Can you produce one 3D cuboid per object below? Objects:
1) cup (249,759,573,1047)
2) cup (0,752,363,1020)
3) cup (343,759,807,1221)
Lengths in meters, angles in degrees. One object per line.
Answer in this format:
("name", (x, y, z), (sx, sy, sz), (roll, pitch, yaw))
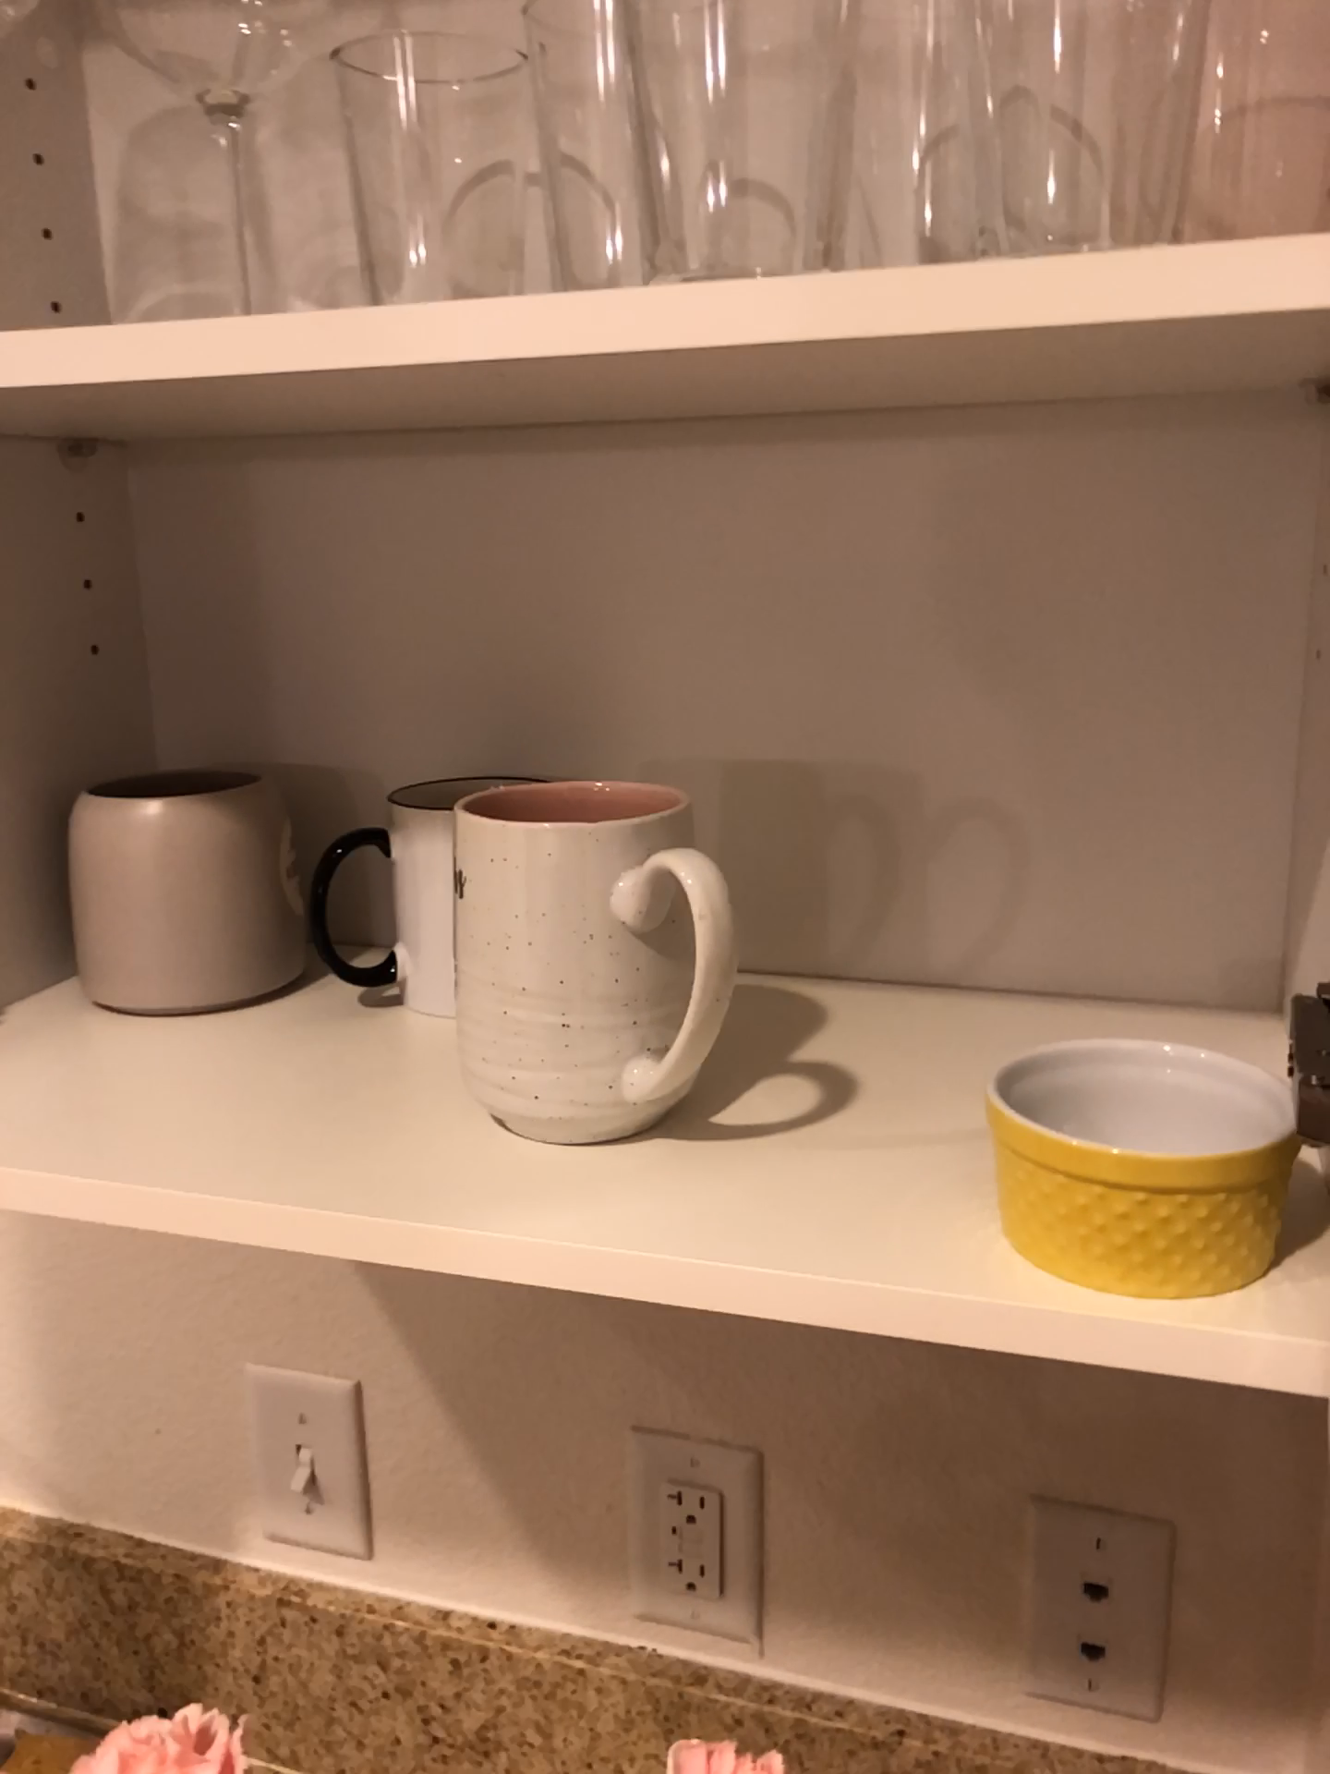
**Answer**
("cup", (-0.108, 0.002, 0.616), (0.110, 0.090, 0.090), (-7, 15, -23))
("cup", (-0.225, -0.007, 0.688), (0.110, 0.090, 0.151), (1, 14, 11))
("cup", (-0.033, 0.024, 0.496), (0.090, 0.110, 0.140), (-11, 17, -35))
